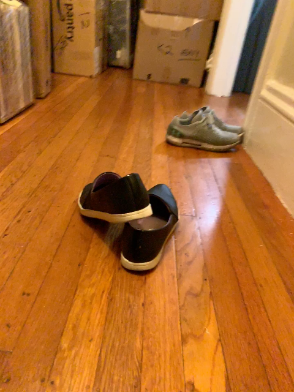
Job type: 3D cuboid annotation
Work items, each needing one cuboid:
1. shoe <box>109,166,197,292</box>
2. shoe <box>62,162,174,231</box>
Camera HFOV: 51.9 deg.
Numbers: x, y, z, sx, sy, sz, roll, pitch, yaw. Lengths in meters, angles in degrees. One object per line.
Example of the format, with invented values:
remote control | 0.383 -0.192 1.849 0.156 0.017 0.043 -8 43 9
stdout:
shoe | 0.023 0.040 0.560 0.100 0.080 0.261 13 30 8
shoe | -0.067 -0.013 0.555 0.100 0.080 0.250 -10 13 -30
